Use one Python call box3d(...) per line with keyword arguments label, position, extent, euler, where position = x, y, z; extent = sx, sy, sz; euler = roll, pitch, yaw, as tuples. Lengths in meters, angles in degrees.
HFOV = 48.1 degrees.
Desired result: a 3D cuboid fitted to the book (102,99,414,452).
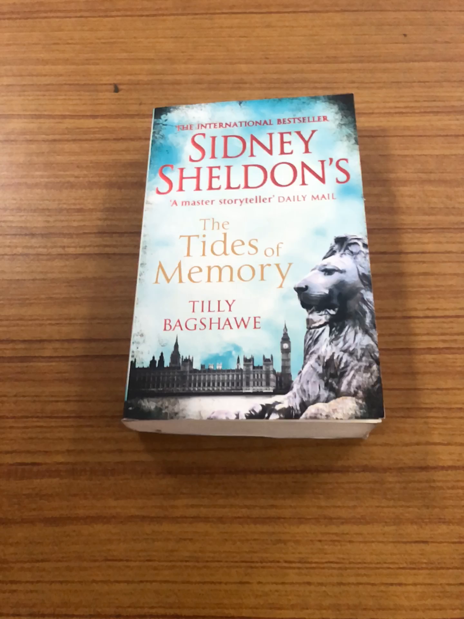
box3d(label="book", position=(0.011, -0.020, 0.253), extent=(0.122, 0.037, 0.168), euler=(-2, 67, 6))
